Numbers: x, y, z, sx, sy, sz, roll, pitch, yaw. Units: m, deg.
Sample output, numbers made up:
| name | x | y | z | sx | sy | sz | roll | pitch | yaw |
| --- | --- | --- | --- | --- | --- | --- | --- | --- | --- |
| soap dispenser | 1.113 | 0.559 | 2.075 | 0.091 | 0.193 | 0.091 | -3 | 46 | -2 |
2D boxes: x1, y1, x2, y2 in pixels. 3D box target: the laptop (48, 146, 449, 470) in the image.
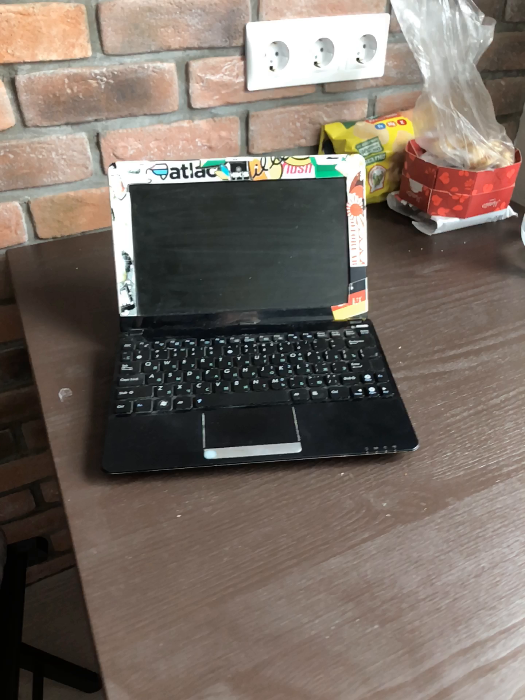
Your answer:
| name | x | y | z | sx | sy | sz | roll | pitch | yaw |
| --- | --- | --- | --- | --- | --- | --- | --- | --- | --- |
| laptop | -0.015 | -0.057 | 0.516 | 0.257 | 0.140 | 0.269 | -3 | 39 | -4 |
